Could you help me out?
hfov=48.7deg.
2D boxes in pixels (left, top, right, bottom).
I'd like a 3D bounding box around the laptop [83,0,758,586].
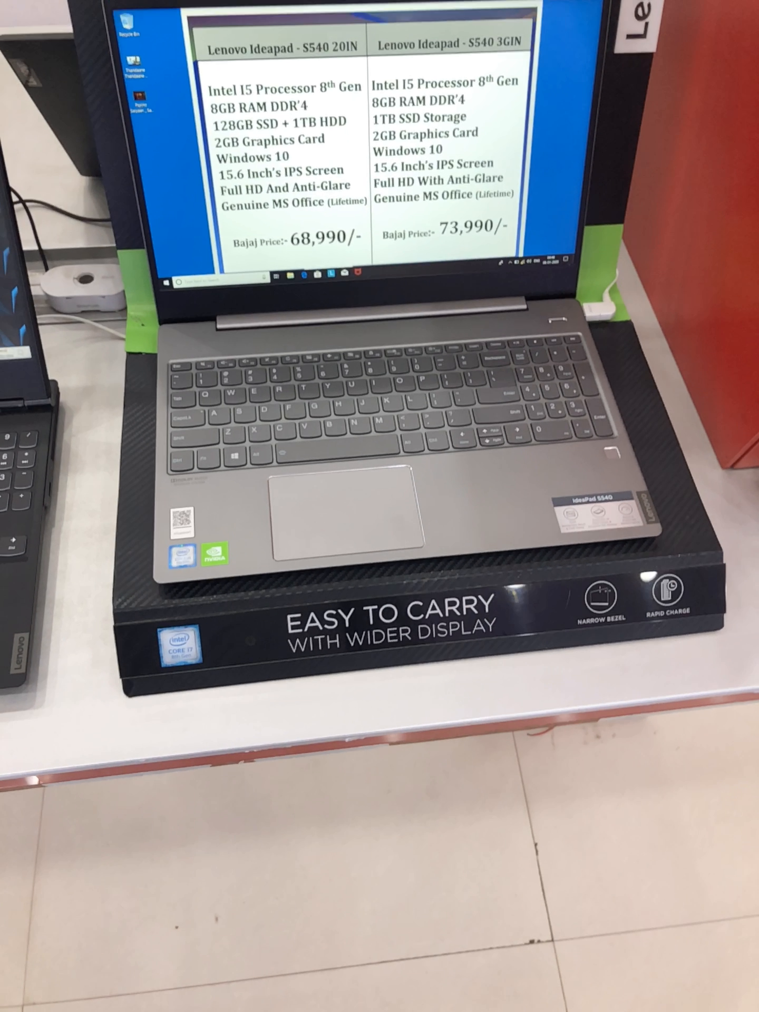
[{"bbox_3d":[0.010,-0.156,0.560,0.336,0.194,0.325,-5,59,-6],"label":"laptop"}]
